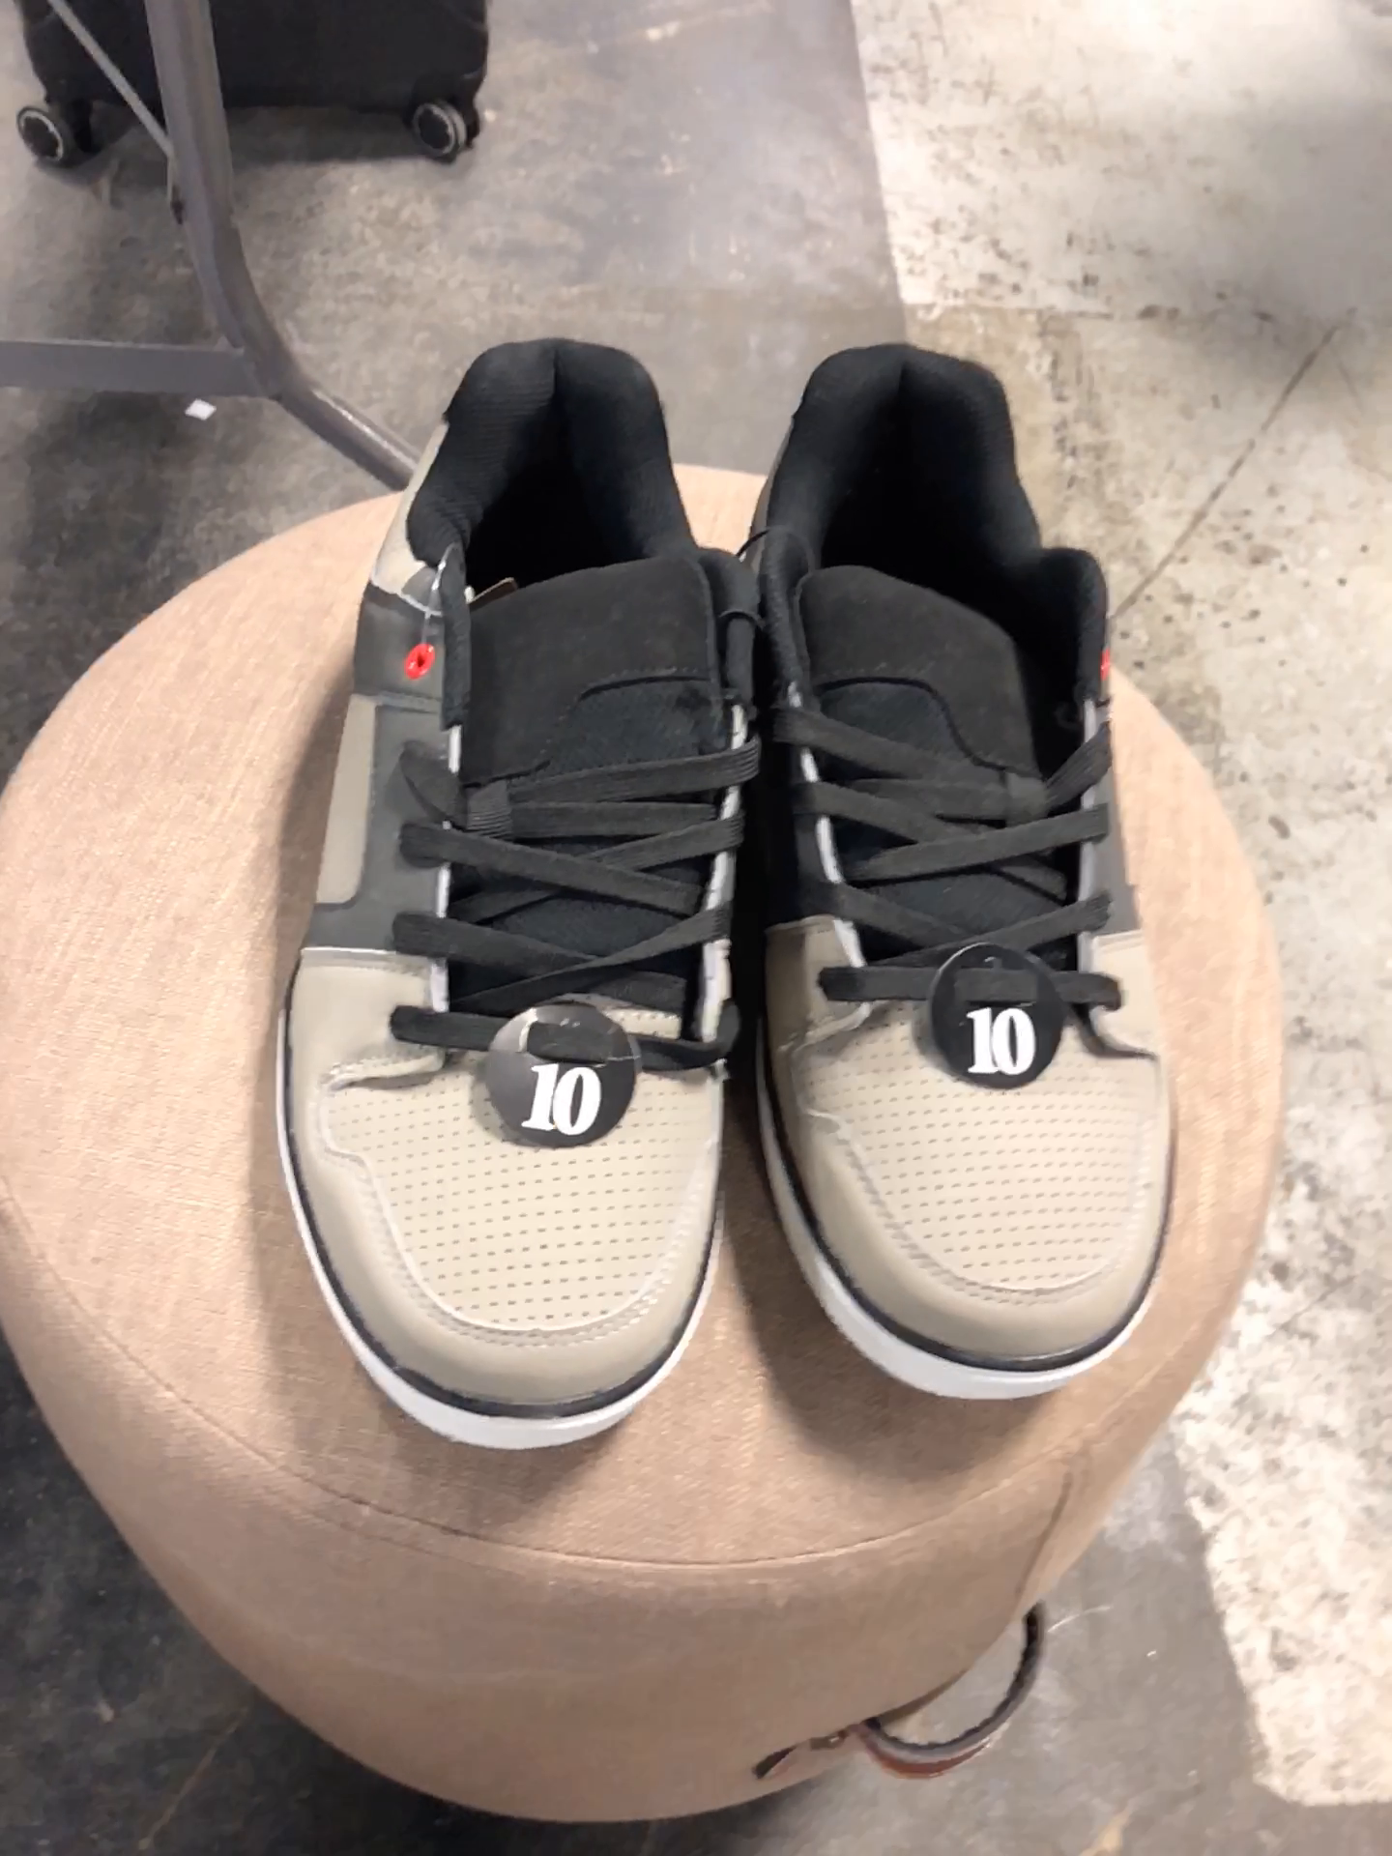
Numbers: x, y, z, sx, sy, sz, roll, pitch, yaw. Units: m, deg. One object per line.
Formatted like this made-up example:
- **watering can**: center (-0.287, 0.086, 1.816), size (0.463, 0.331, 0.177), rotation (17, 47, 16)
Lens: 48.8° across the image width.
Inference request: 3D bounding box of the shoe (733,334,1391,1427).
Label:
- **shoe**: center (0.075, -0.027, 0.395), size (0.110, 0.089, 0.282), rotation (2, 54, -5)

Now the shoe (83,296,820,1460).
- **shoe**: center (-0.047, -0.028, 0.371), size (0.120, 0.089, 0.282), rotation (2, 54, -5)
